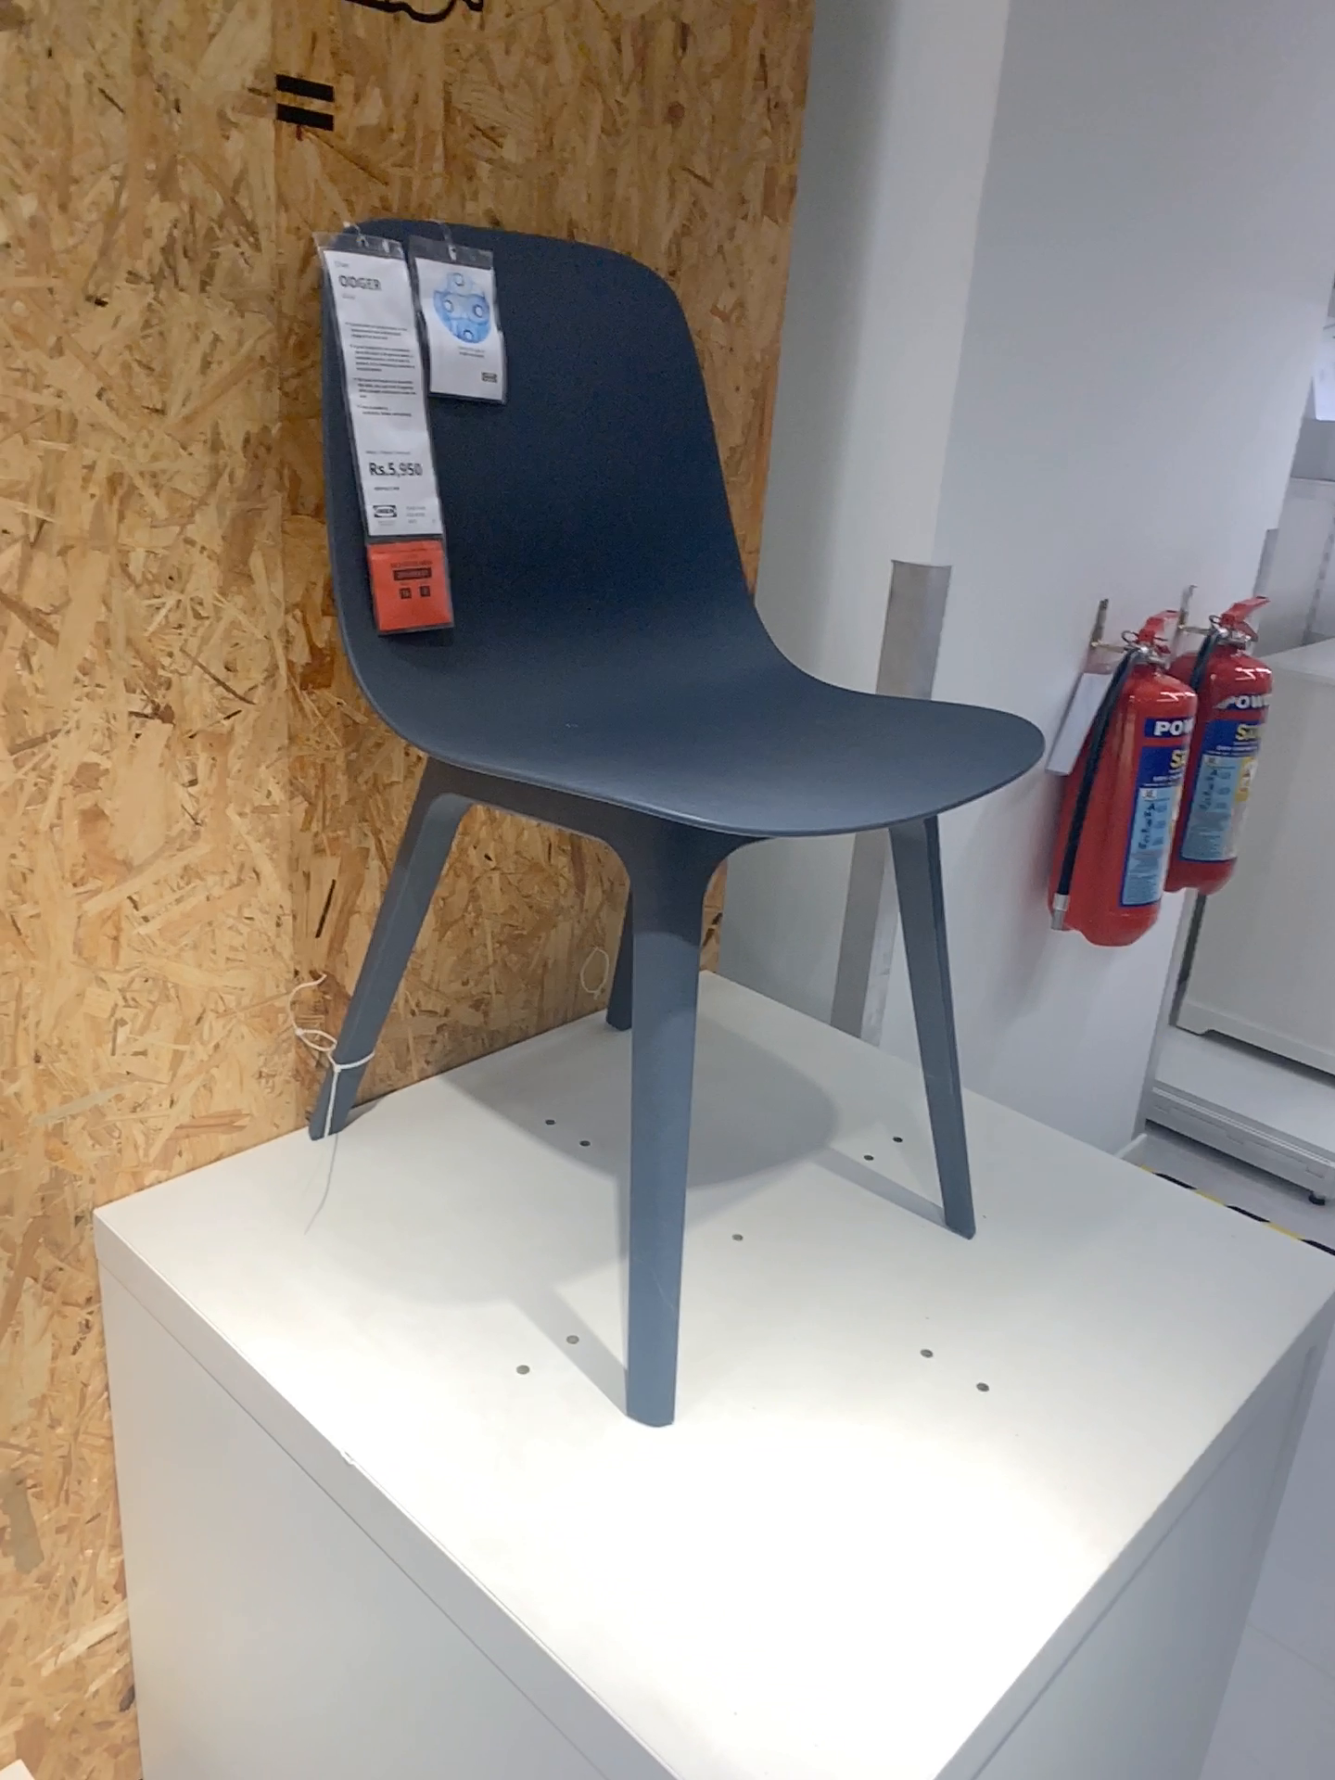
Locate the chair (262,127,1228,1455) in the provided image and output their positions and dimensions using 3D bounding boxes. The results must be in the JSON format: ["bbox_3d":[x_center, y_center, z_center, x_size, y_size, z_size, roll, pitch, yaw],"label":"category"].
[{"bbox_3d":[0.015,-0.109,1.060,0.431,0.767,0.501,-15,28,-41],"label":"chair"}]
